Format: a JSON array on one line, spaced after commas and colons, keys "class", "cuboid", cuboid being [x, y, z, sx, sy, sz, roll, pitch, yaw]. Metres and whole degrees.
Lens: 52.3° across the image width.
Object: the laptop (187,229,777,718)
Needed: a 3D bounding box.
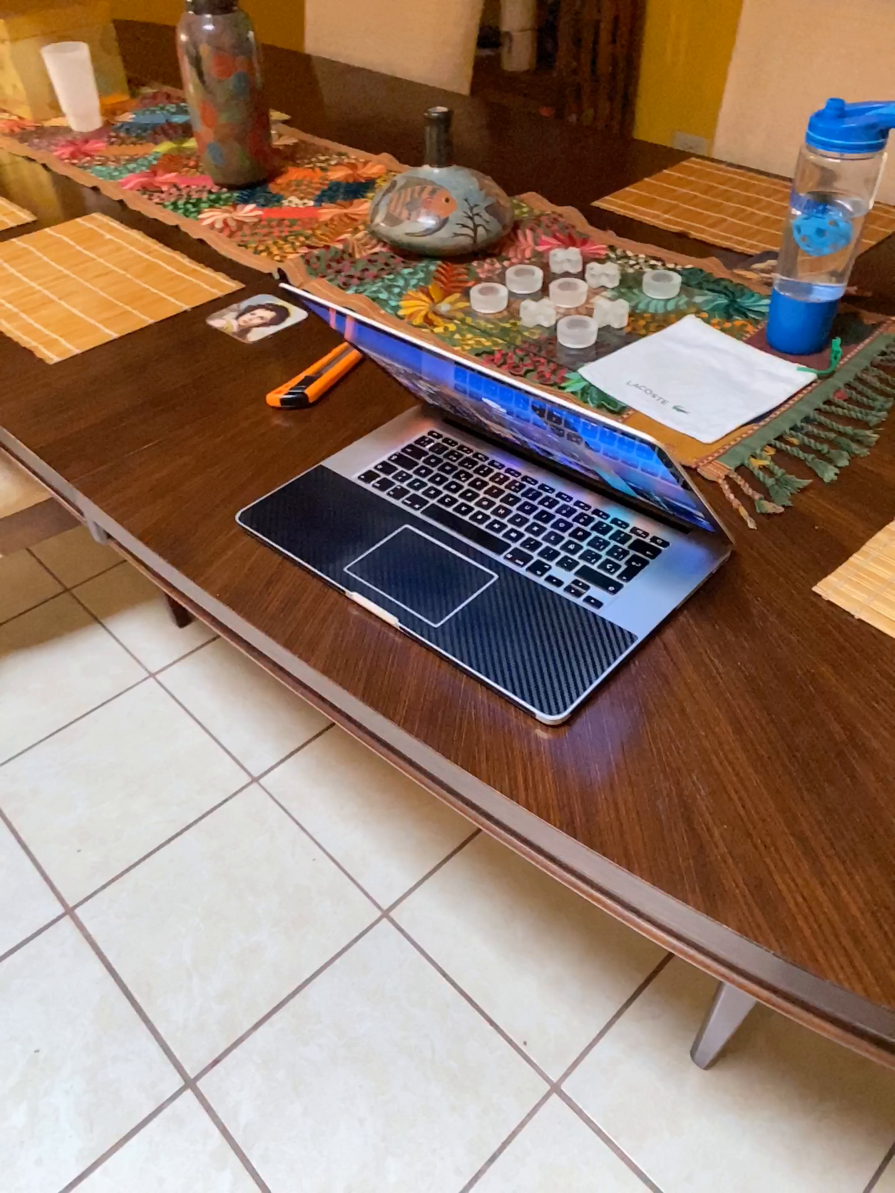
[{"class": "laptop", "cuboid": [0.019, -0.121, 0.717, 0.355, 0.181, 0.236, 30, 51, 30]}]
